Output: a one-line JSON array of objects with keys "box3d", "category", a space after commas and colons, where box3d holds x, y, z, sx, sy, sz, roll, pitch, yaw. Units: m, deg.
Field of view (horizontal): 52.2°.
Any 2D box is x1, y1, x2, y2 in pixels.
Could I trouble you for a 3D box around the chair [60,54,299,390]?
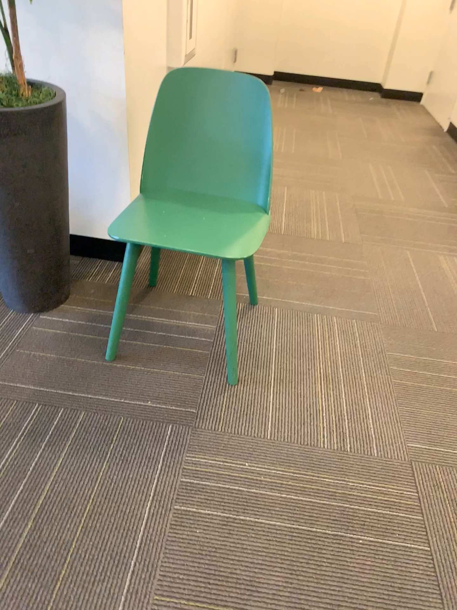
[{"box3d": [-0.104, -0.250, 1.392, 0.480, 0.765, 0.543, 9, 37, 4], "category": "chair"}]
